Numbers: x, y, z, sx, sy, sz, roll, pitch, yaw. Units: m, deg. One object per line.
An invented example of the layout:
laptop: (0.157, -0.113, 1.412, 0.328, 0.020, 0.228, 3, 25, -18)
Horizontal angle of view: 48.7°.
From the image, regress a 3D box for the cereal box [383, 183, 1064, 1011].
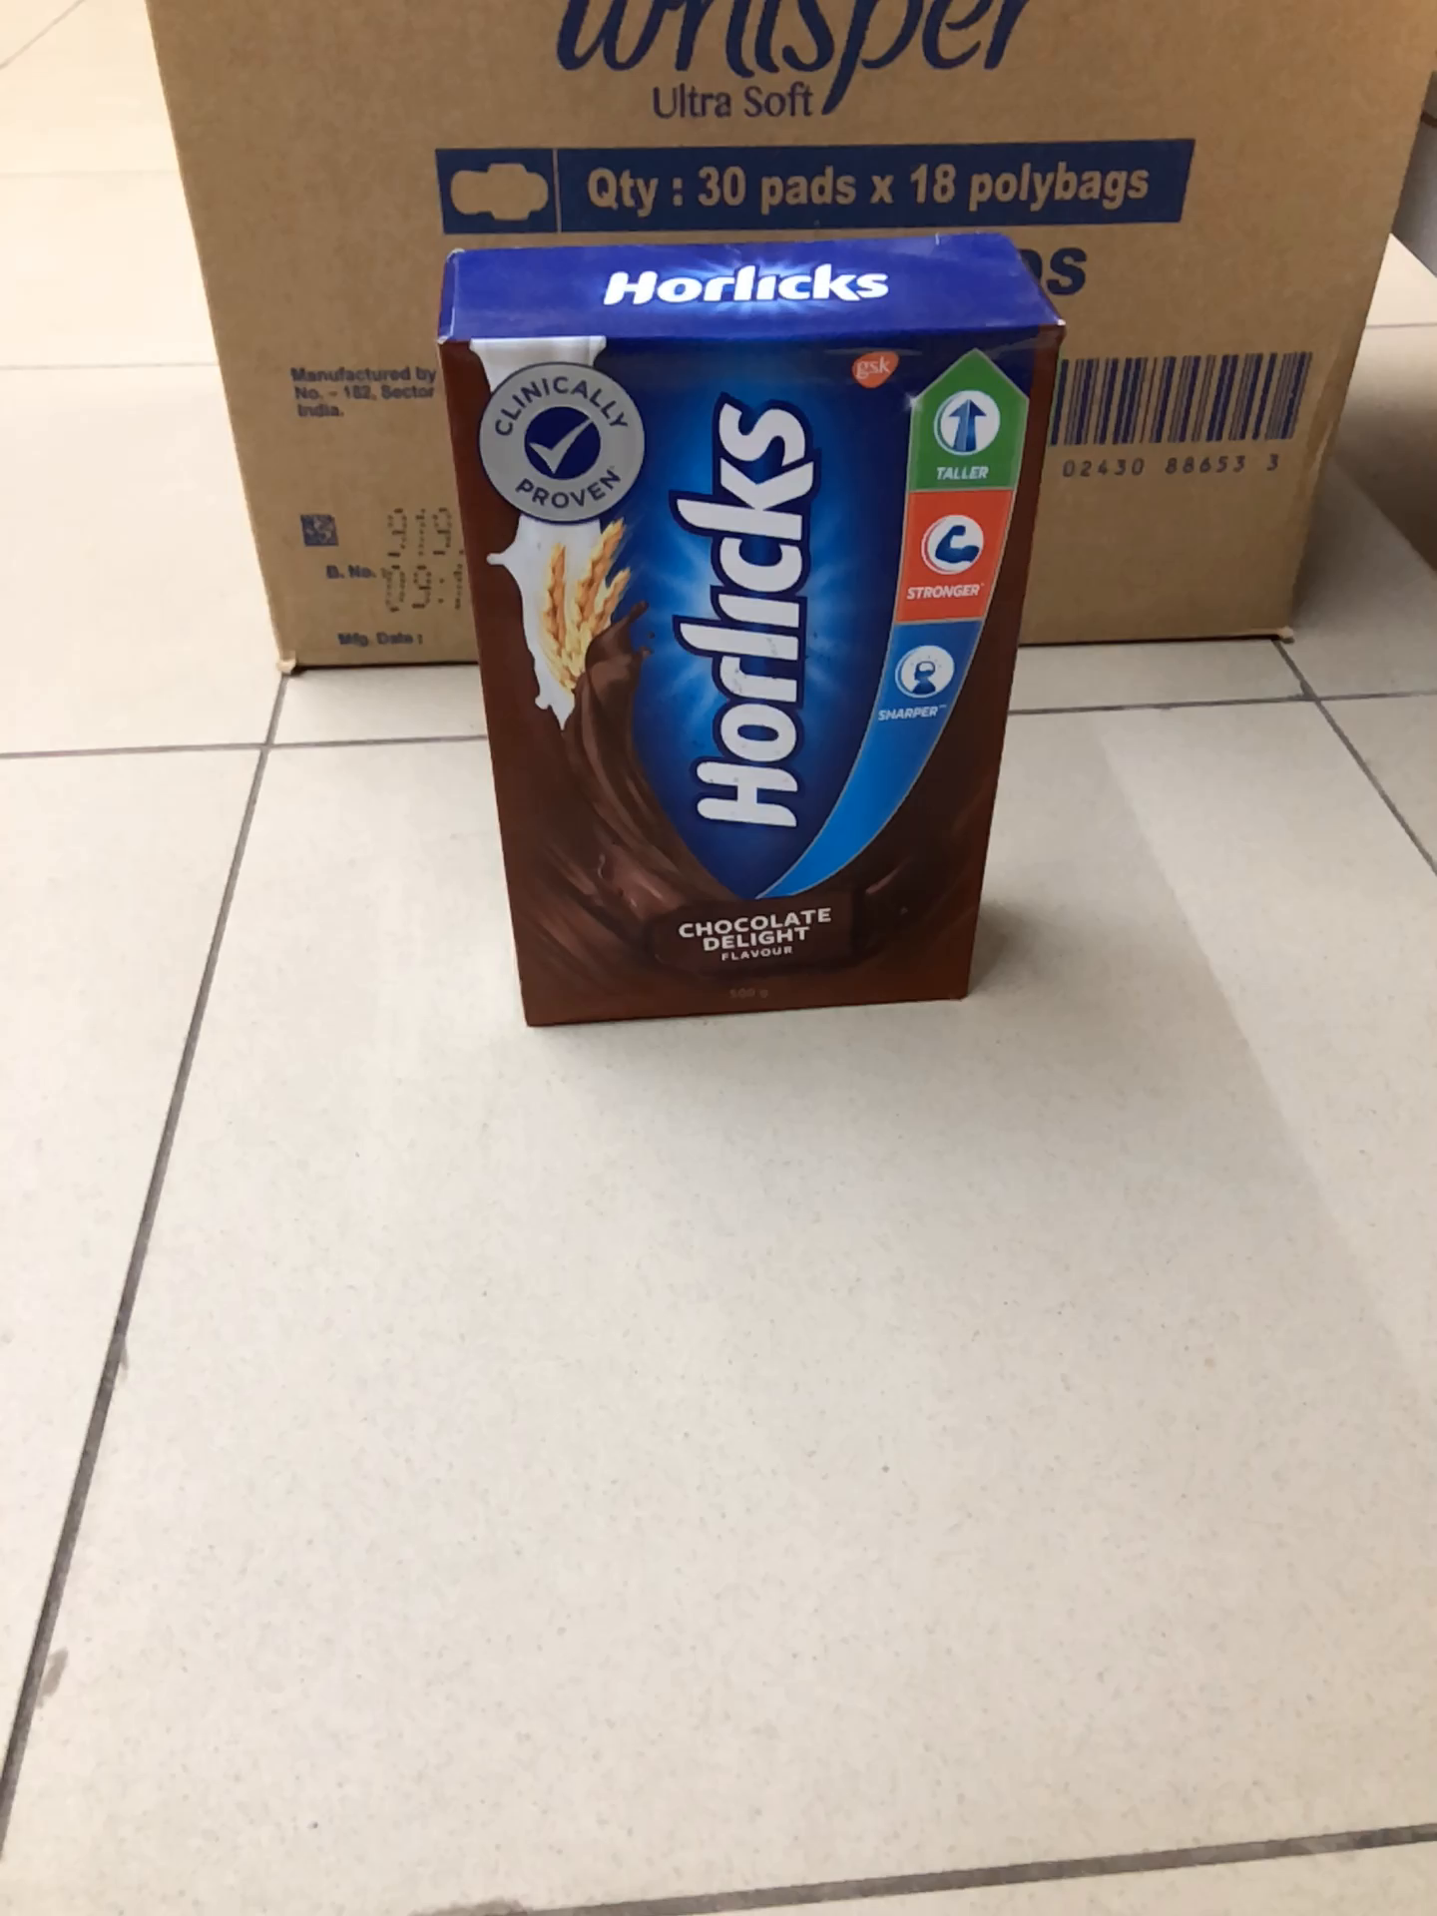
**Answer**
cereal box: (0.000, -0.084, 0.412, 0.140, 0.199, 0.060, -3, 40, -4)
